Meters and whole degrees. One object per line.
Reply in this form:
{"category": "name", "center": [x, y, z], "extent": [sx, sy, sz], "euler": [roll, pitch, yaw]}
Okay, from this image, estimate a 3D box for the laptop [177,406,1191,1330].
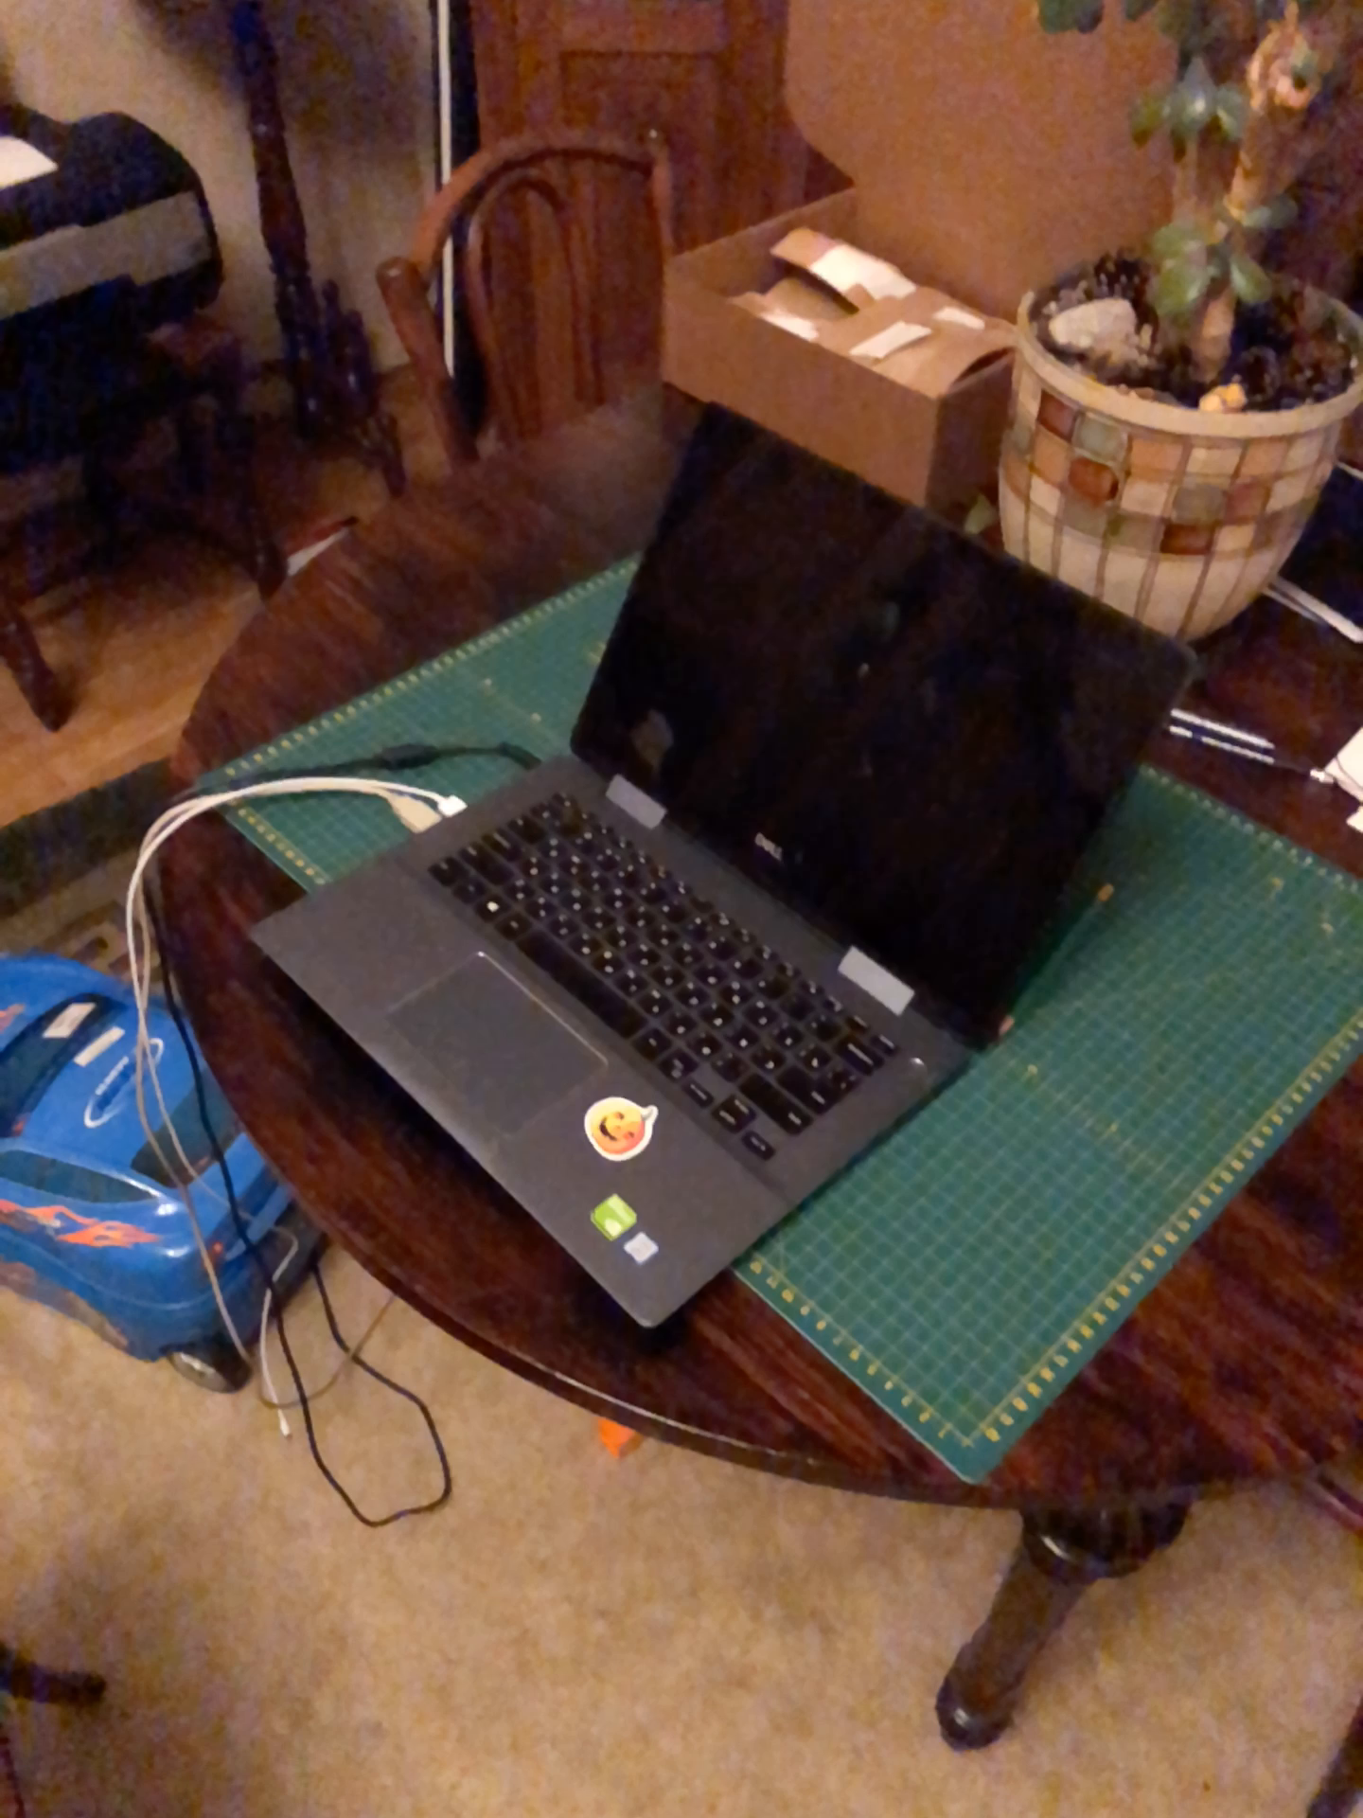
{"category": "laptop", "center": [0.001, -0.049, 0.755], "extent": [0.338, 0.192, 0.321], "euler": [-34, 55, -29]}
